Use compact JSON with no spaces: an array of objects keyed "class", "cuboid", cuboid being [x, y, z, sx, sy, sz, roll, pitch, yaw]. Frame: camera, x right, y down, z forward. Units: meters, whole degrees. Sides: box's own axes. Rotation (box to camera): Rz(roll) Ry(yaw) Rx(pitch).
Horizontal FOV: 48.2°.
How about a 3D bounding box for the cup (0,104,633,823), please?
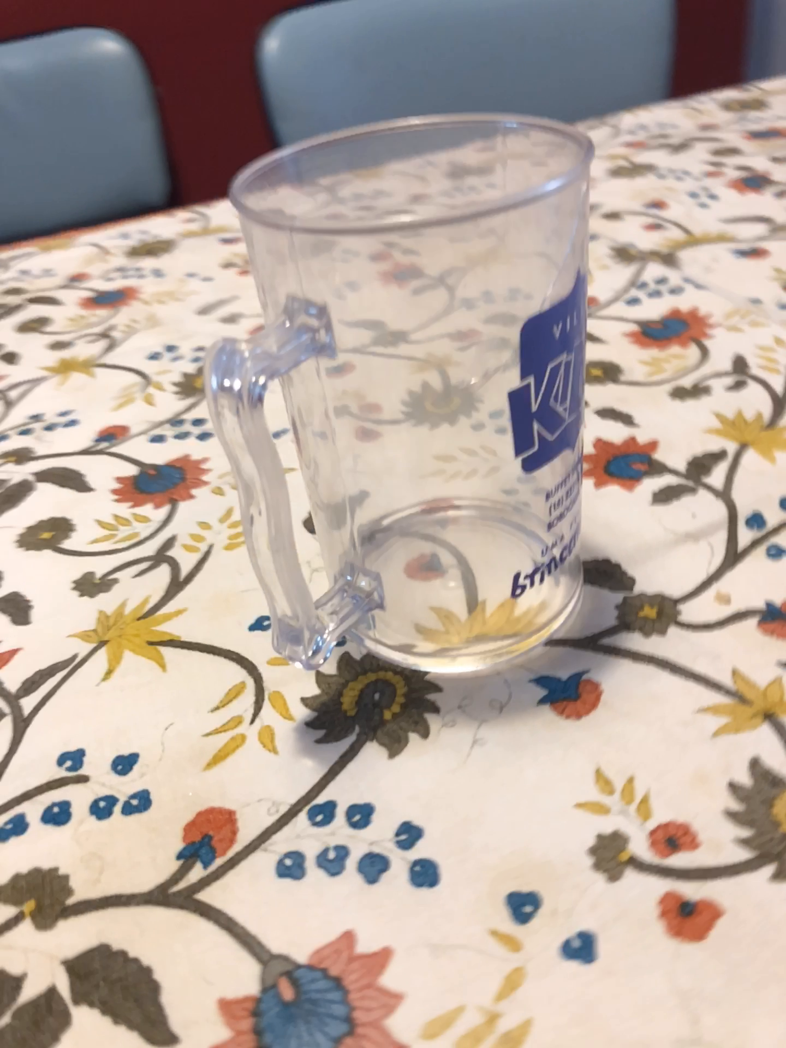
[{"class":"cup","cuboid":[-0.007,-0.023,0.203,0.080,0.109,0.111,18,44,32]}]
